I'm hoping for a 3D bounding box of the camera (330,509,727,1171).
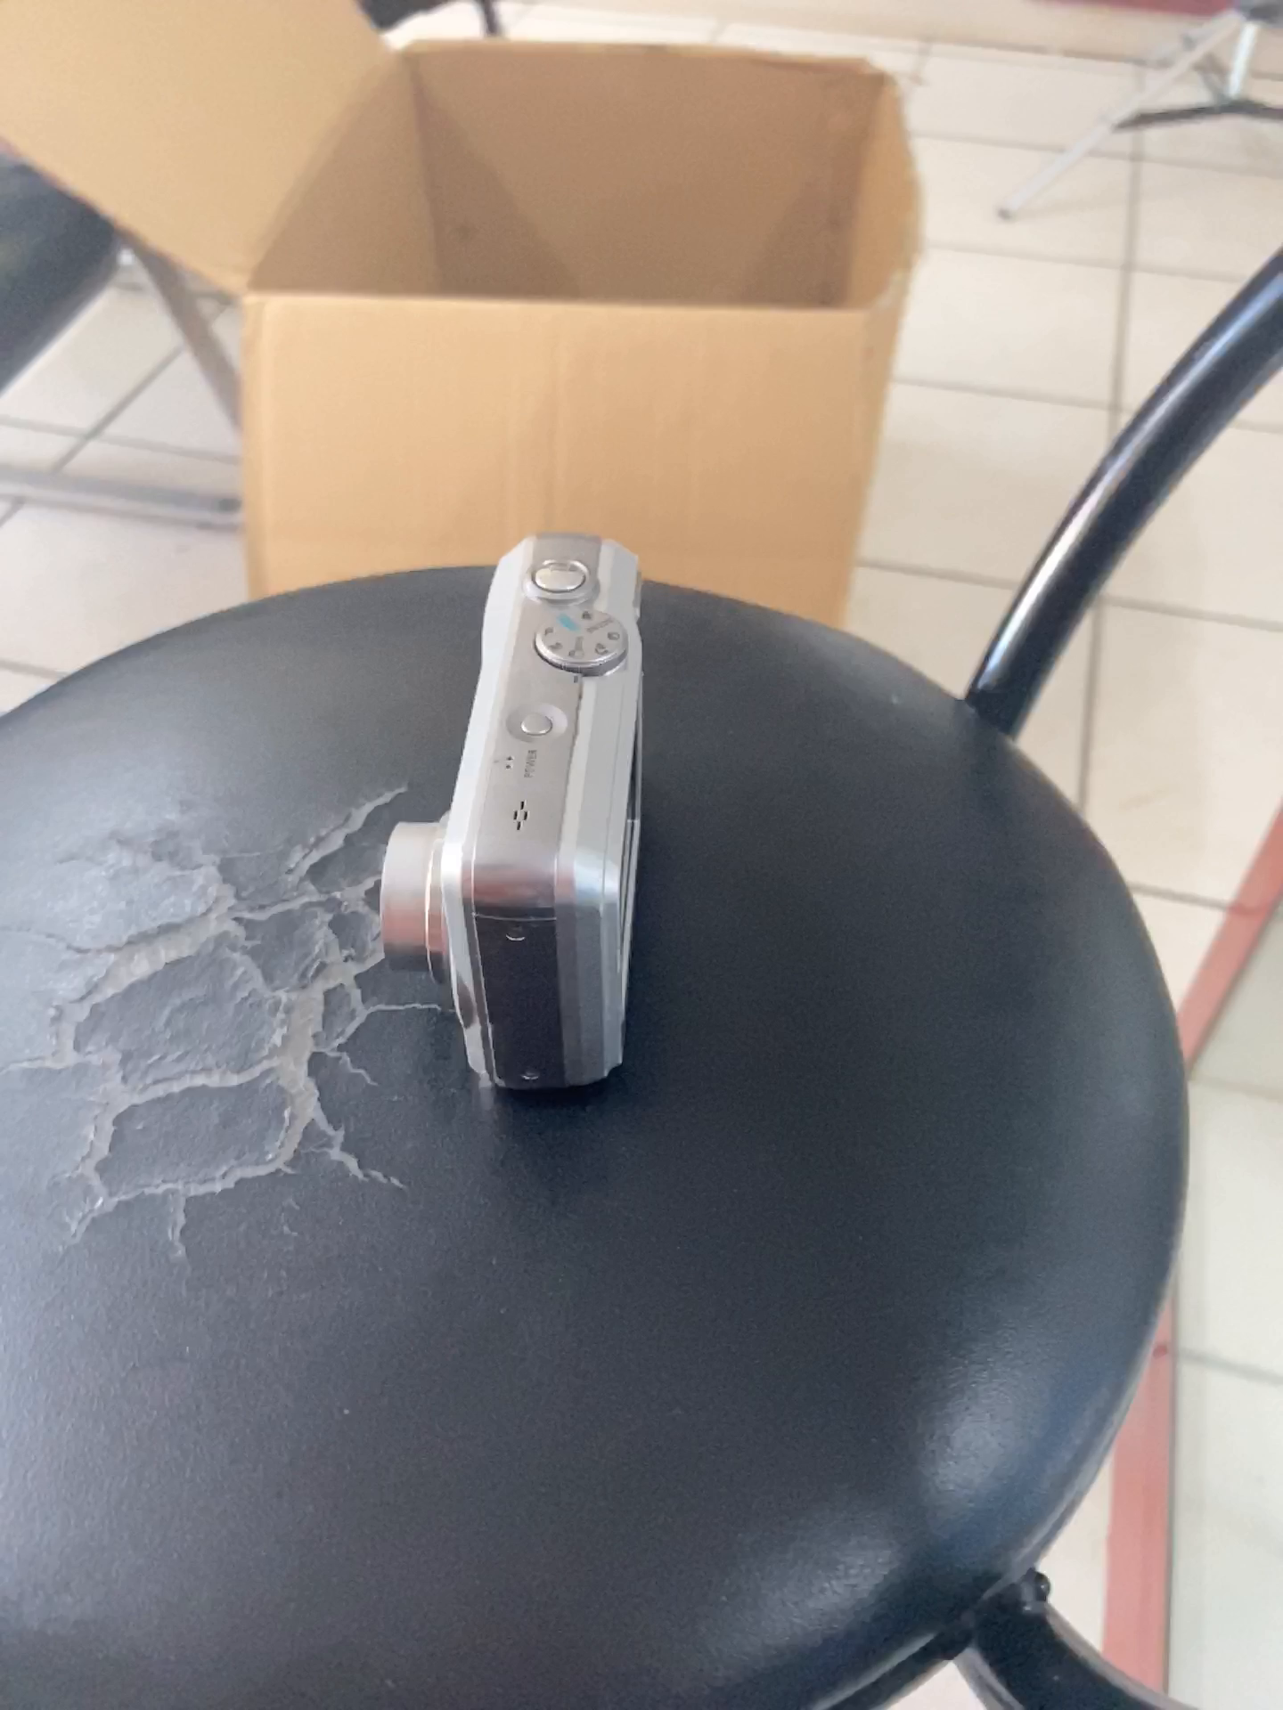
[{"bbox_3d":[-0.013,-0.006,0.236,0.050,0.060,0.101,4,48,3],"label":"camera"}]
